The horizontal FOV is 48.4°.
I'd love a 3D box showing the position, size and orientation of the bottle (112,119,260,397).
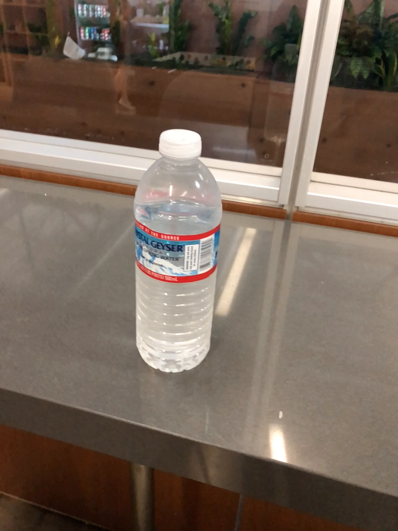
[{"bbox_3d":[-0.011,-0.004,0.341,0.070,0.189,0.070,2,31,-1],"label":"bottle"}]
